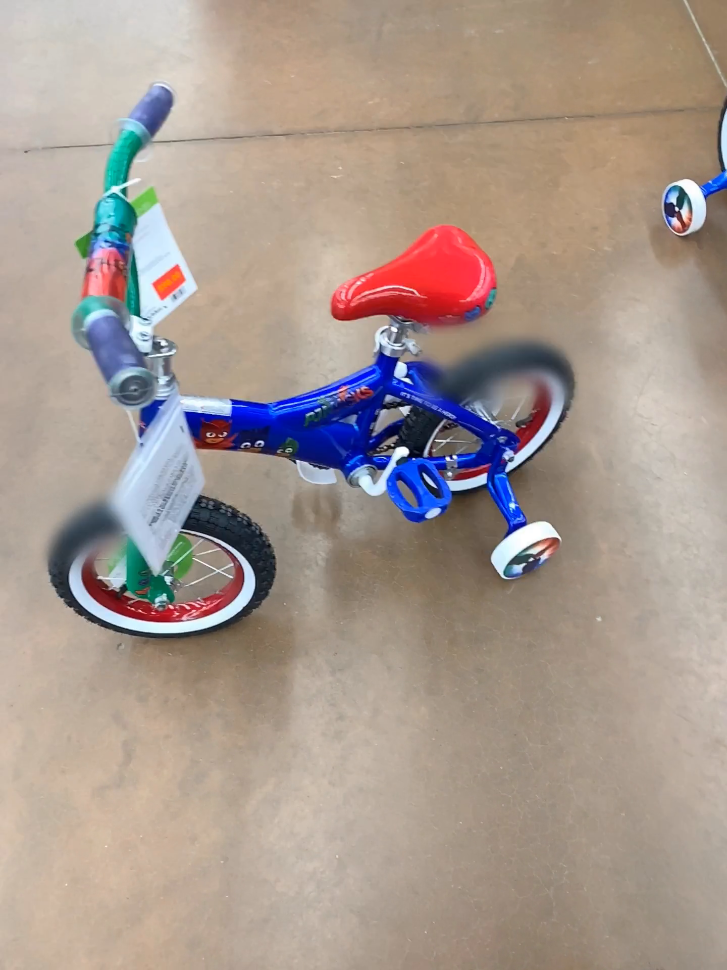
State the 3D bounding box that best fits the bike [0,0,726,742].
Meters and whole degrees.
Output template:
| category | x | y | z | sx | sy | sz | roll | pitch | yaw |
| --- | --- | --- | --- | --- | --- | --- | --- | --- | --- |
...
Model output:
| category | x | y | z | sx | sy | sz | roll | pitch | yaw |
| --- | --- | --- | --- | --- | --- | --- | --- | --- | --- |
| bike | -0.074 | -0.137 | 0.925 | 0.775 | 0.670 | 0.461 | -21 | 58 | -11 |
